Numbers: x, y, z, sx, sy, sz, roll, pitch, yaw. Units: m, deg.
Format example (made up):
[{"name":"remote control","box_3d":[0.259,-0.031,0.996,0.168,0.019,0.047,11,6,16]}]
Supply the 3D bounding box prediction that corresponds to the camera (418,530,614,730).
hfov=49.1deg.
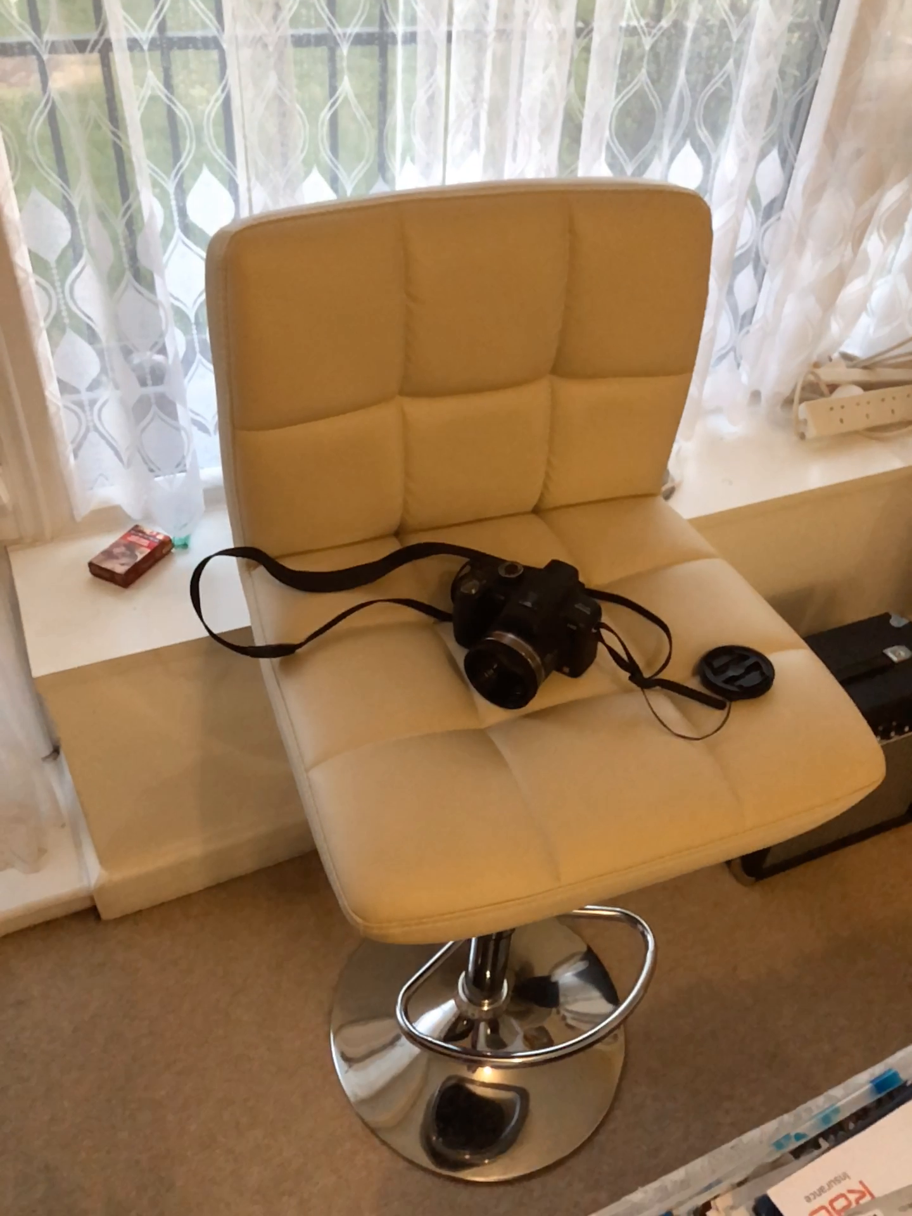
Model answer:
[{"name":"camera","box_3d":[0.044,0.014,0.756,0.112,0.076,0.098,21,44,19]}]
